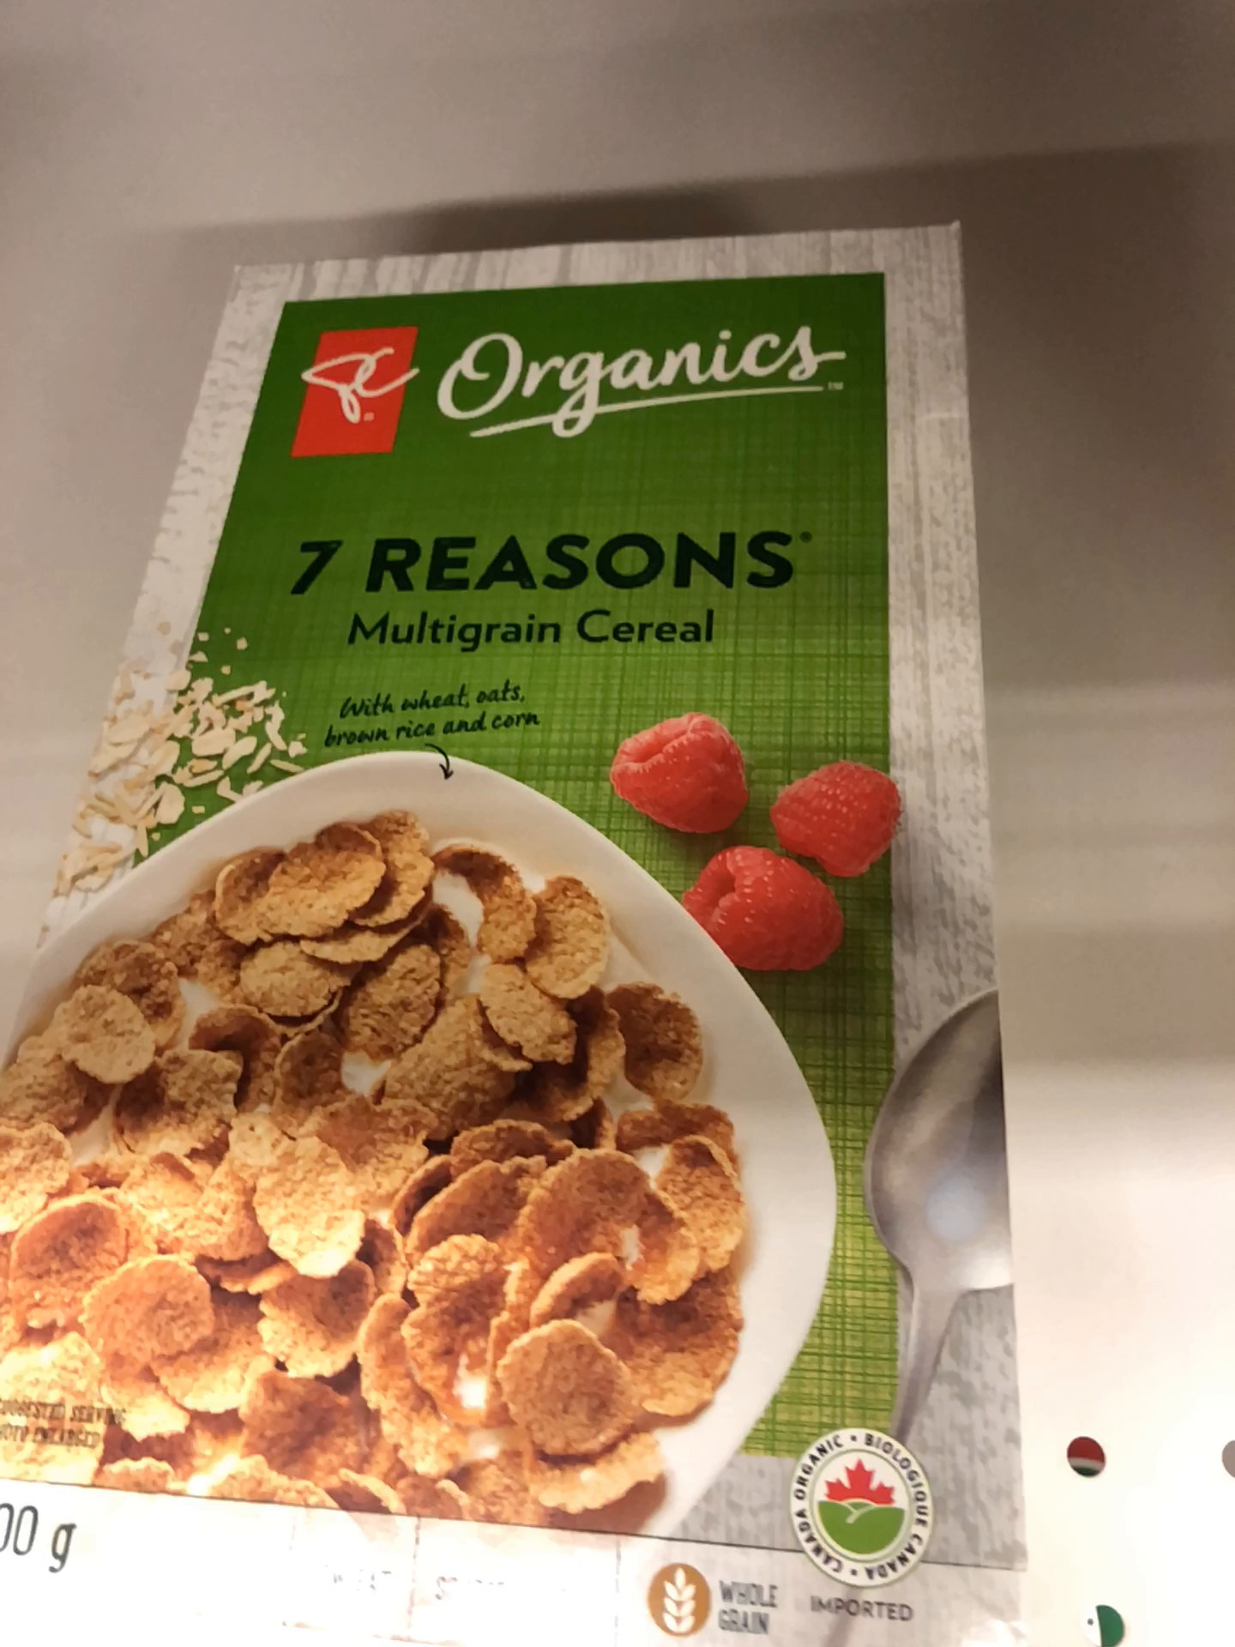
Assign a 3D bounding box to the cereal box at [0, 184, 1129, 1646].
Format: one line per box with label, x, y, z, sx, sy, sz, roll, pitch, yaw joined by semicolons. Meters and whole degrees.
cereal box;-0.018;0.003;0.249;0.180;0.060;0.260;1;62;9
